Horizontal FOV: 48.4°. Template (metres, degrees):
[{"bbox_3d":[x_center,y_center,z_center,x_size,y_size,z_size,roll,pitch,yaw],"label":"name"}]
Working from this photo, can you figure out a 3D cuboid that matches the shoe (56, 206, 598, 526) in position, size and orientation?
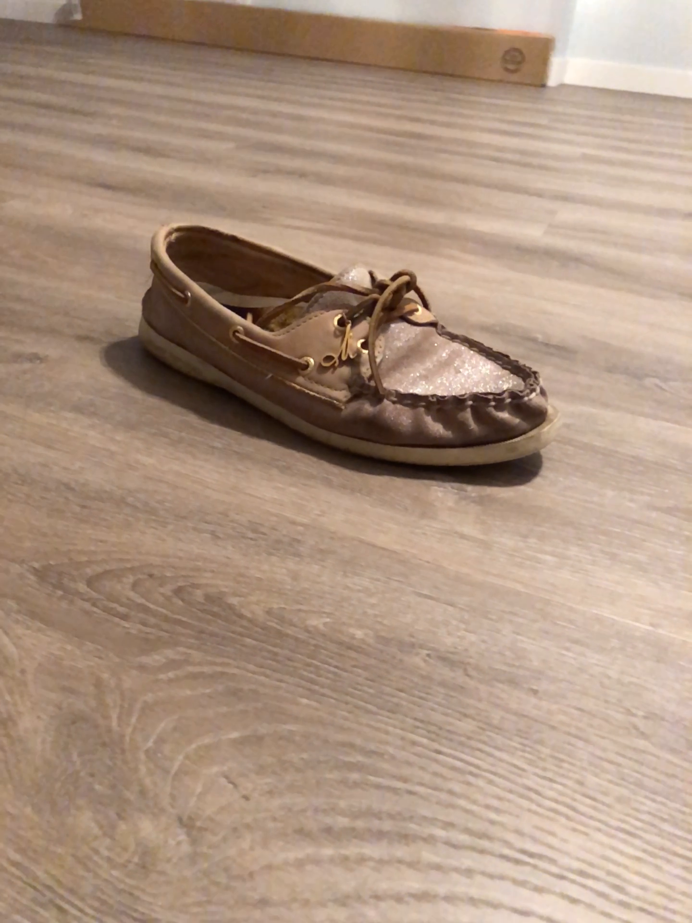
[{"bbox_3d":[-0.017,-0.064,0.391,0.250,0.070,0.100,21,33,25],"label":"shoe"}]
